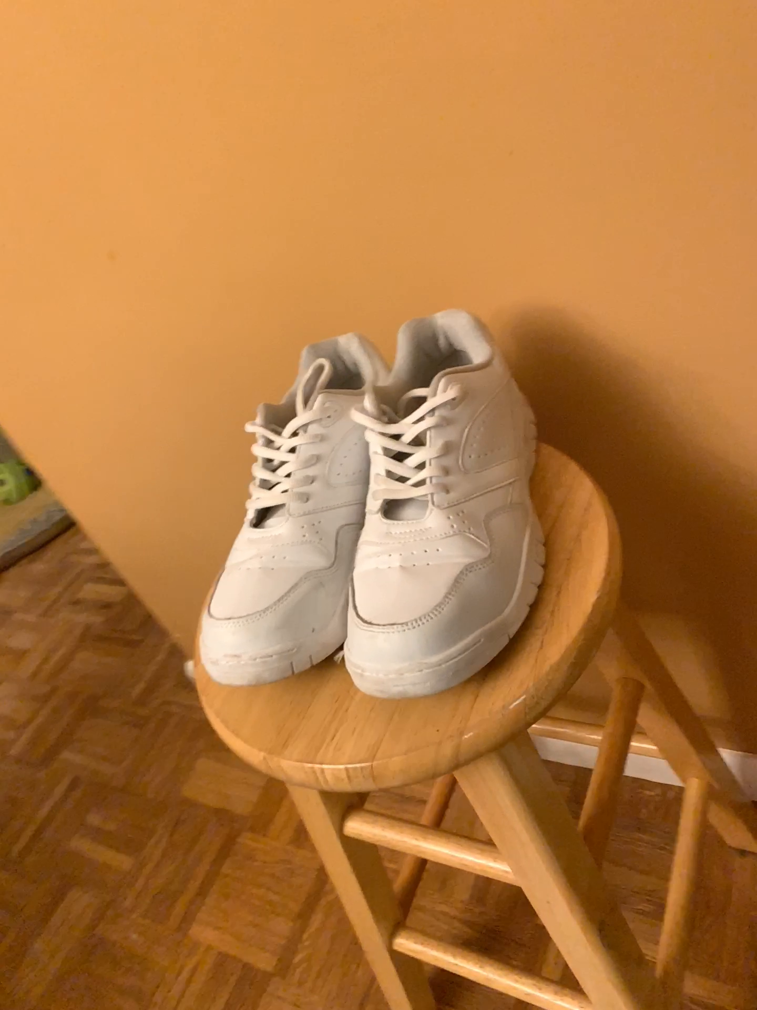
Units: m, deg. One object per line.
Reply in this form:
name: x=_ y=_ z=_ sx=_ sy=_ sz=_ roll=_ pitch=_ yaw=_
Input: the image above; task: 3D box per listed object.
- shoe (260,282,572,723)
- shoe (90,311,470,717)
shoe: x=0.044 y=-0.013 z=0.488 sx=0.120 sy=0.109 sz=0.271 roll=-9 pitch=39 yaw=23
shoe: x=-0.047 y=-0.006 z=0.539 sx=0.131 sy=0.109 sz=0.271 roll=-3 pitch=41 yaw=29
